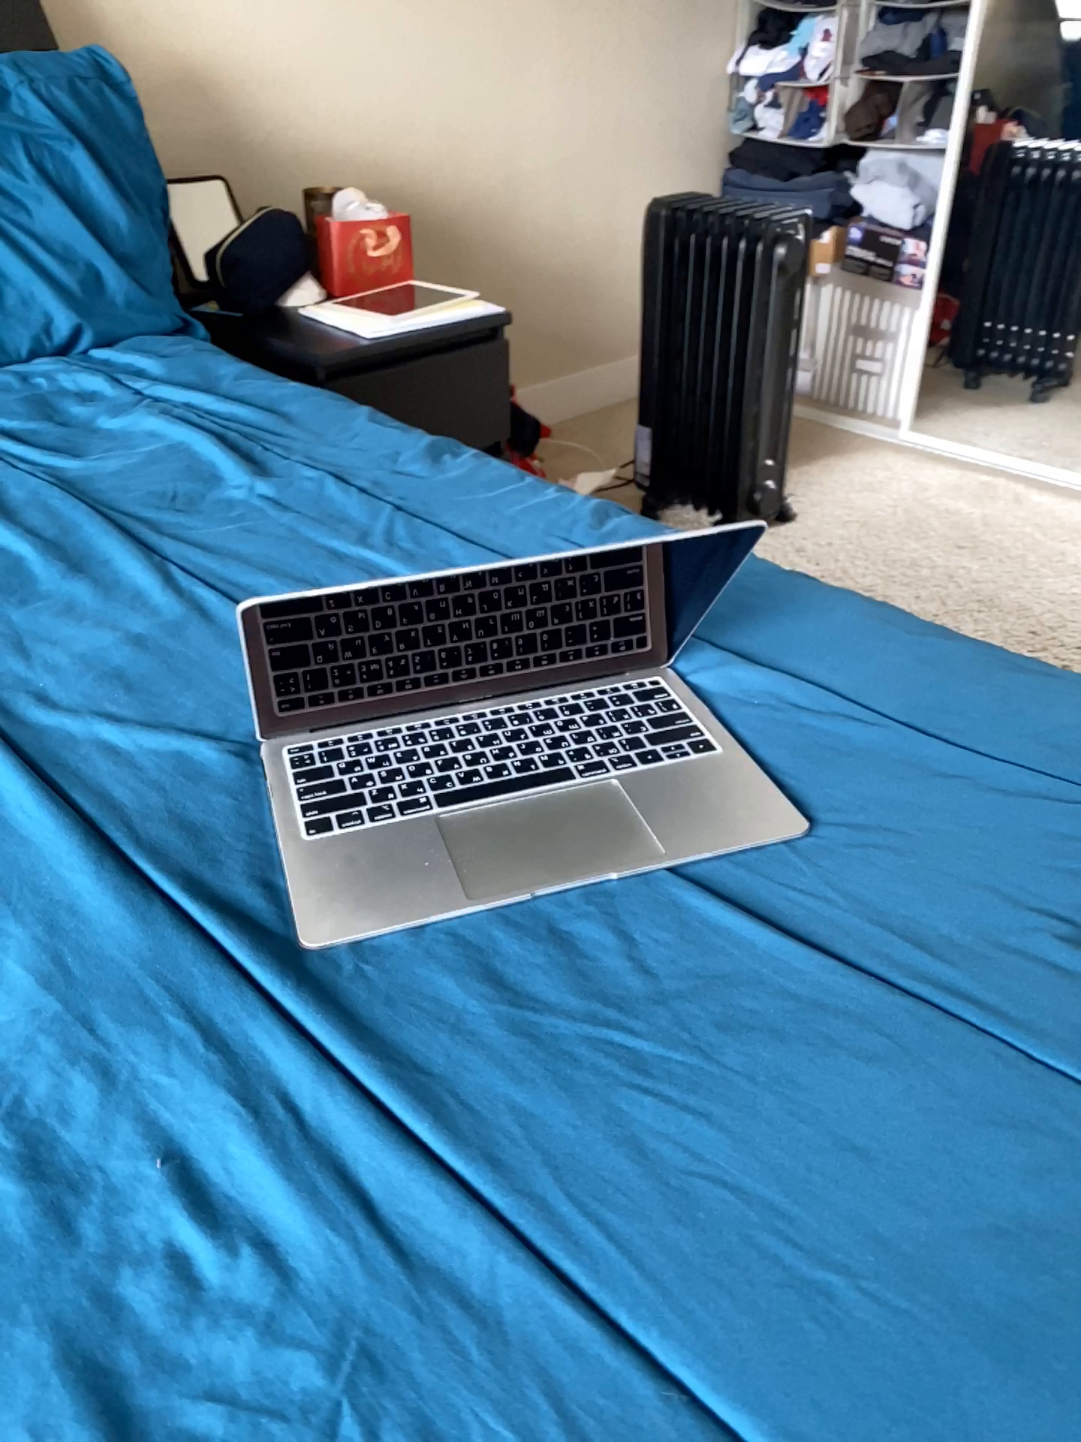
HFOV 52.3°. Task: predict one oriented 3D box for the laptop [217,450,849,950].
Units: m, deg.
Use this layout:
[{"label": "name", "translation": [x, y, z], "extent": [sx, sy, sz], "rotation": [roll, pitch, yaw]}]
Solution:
[{"label": "laptop", "translation": [-0.017, -0.031, 0.649], "extent": [0.295, 0.161, 0.216], "rotation": [-11, 33, -14]}]
